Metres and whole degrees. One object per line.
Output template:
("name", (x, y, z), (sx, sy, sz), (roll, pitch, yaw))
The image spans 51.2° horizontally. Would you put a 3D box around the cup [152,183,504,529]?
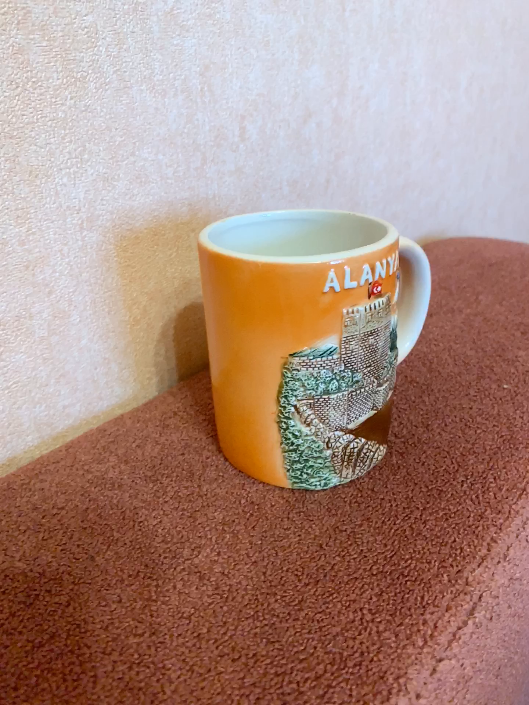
("cup", (0.030, -0.011, 0.252), (0.120, 0.098, 0.088), (-25, 37, -36))
